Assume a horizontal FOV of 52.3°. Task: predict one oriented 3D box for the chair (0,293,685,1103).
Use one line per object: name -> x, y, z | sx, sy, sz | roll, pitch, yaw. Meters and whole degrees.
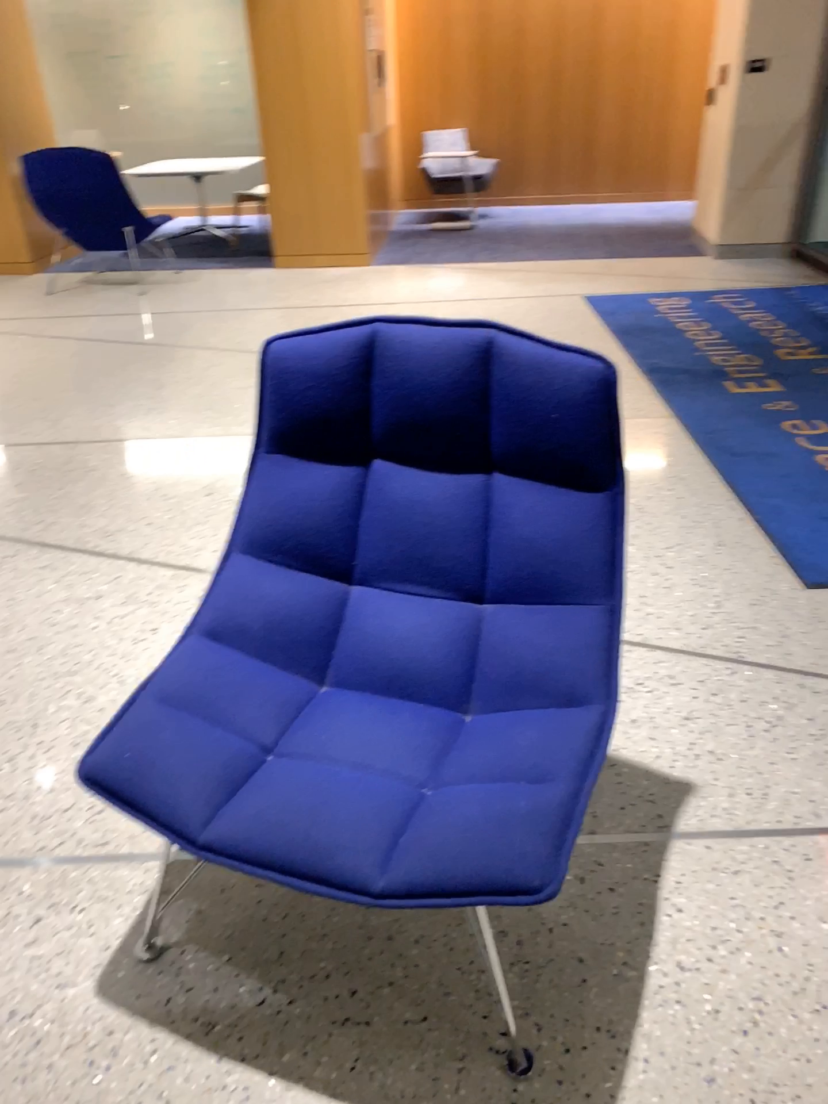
chair -> -0.079, 0.139, 1.390 | 0.855, 0.894, 0.800 | 8, 31, 18
